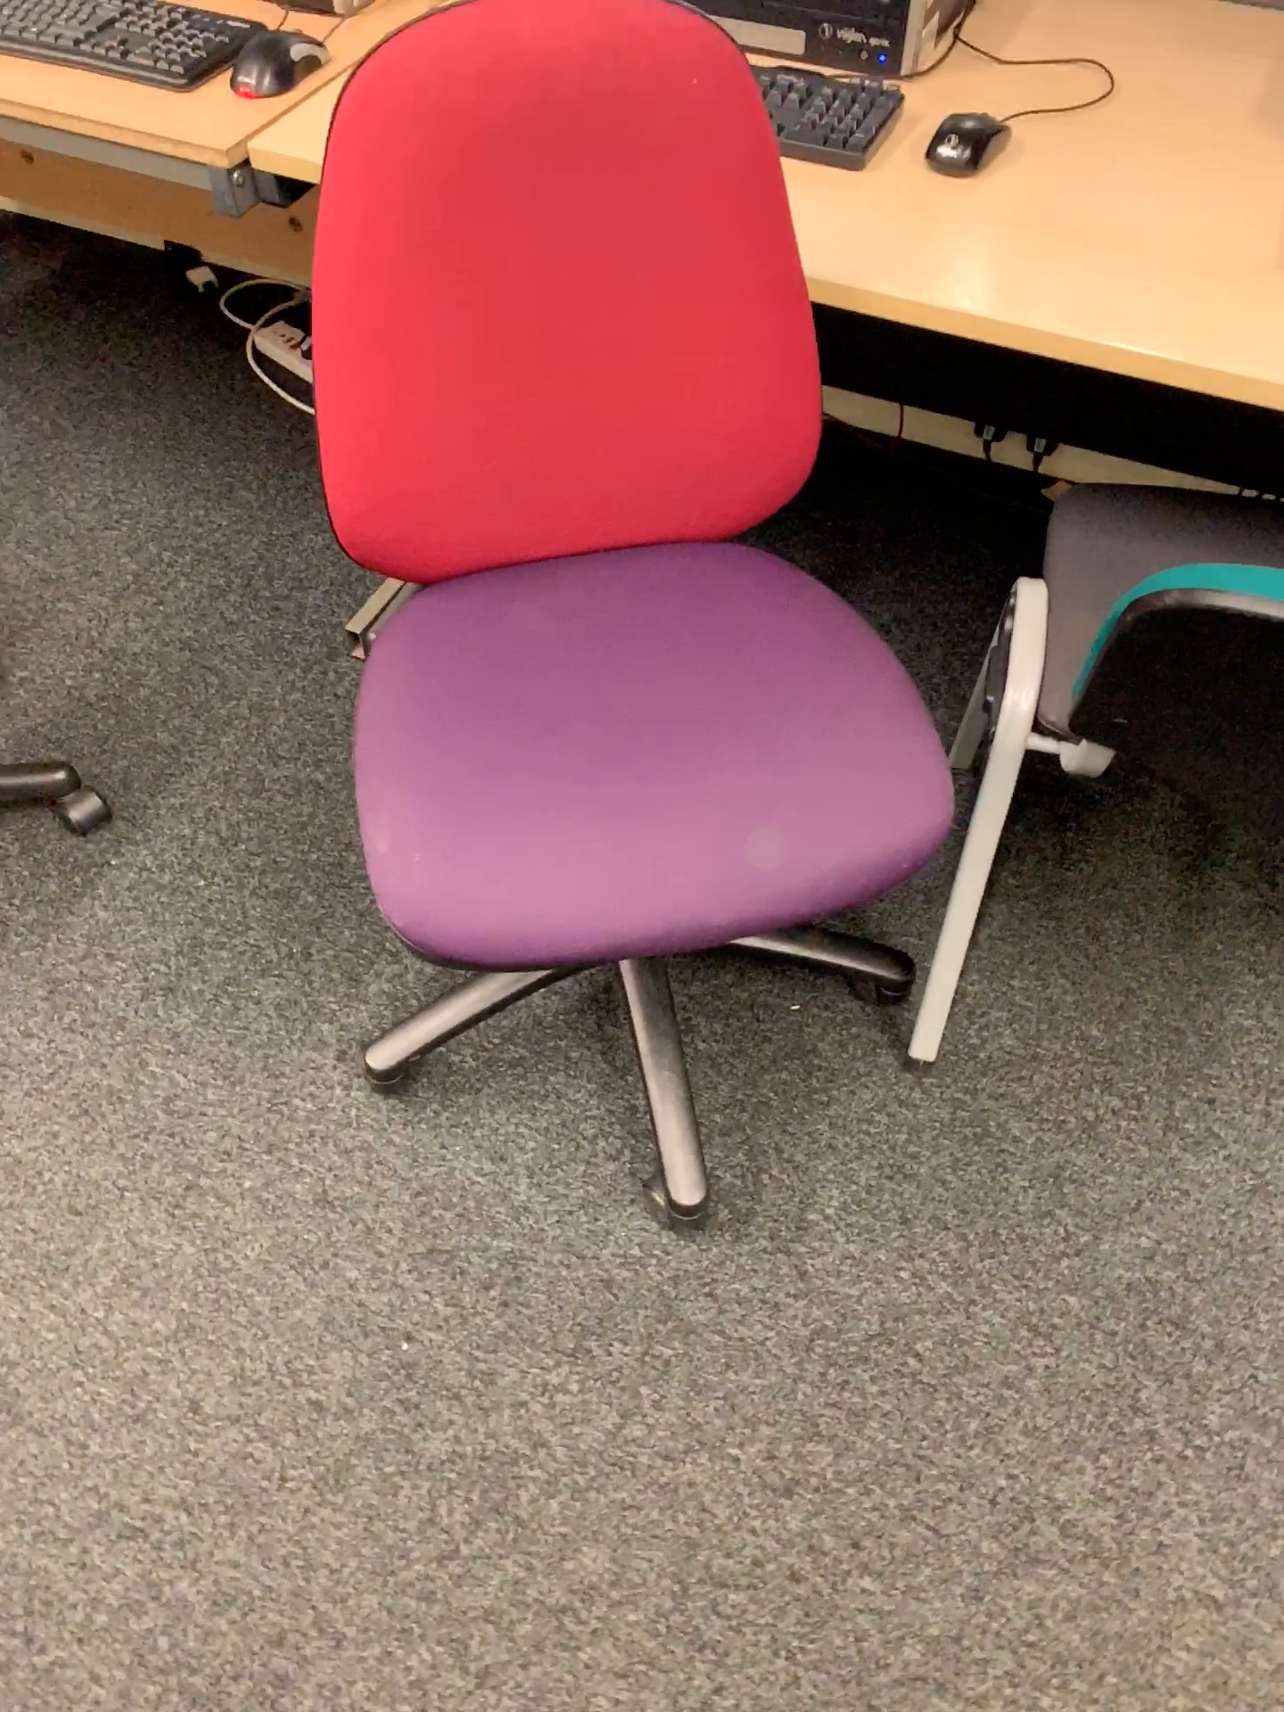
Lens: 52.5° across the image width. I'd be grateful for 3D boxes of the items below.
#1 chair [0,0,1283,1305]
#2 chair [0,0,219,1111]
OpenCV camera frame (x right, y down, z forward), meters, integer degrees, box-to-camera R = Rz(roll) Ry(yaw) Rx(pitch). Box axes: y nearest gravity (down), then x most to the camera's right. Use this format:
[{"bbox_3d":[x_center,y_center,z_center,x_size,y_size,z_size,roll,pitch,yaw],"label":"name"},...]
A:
[{"bbox_3d":[-0.010,-0.134,1.082,0.653,0.869,0.603,-7,51,-6],"label":"chair"},{"bbox_3d":[-0.920,-0.312,1.203,0.599,0.829,0.607,16,53,13],"label":"chair"}]
